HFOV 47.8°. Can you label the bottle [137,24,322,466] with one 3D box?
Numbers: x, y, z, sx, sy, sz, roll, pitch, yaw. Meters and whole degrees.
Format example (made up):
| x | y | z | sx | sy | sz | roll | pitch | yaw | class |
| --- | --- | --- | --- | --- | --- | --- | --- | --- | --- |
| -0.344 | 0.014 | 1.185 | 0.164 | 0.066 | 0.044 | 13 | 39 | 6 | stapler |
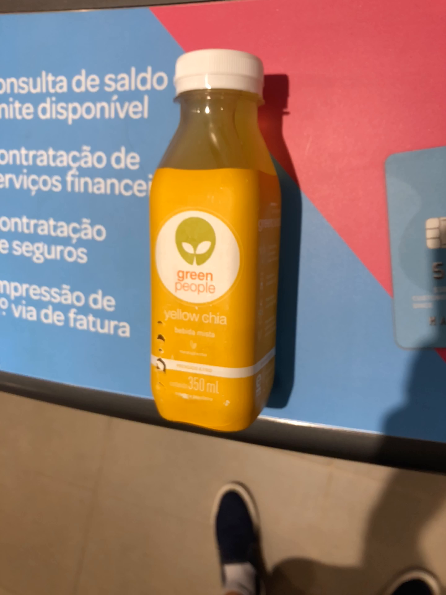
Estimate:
| x | y | z | sx | sy | sz | roll | pitch | yaw | class |
| --- | --- | --- | --- | --- | --- | --- | --- | --- | --- |
| 0.003 | -0.023 | 0.243 | 0.060 | 0.060 | 0.180 | 8 | 101 | 21 | bottle |
